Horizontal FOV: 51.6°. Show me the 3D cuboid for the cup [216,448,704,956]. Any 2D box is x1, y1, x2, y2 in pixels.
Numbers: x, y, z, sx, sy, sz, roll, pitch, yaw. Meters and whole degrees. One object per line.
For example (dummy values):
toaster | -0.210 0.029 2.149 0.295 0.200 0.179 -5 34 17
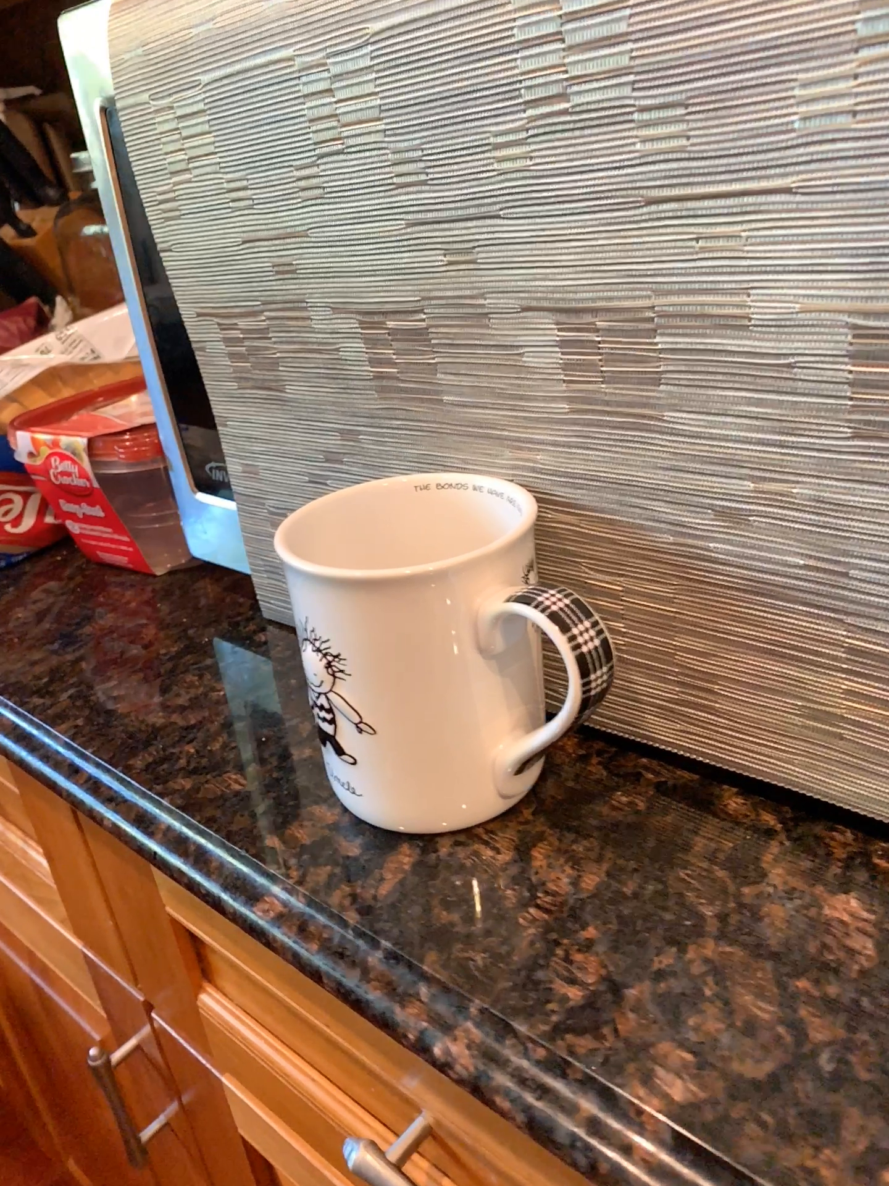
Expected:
cup | 0.007 0.025 0.327 0.100 0.109 0.131 -27 32 -36
